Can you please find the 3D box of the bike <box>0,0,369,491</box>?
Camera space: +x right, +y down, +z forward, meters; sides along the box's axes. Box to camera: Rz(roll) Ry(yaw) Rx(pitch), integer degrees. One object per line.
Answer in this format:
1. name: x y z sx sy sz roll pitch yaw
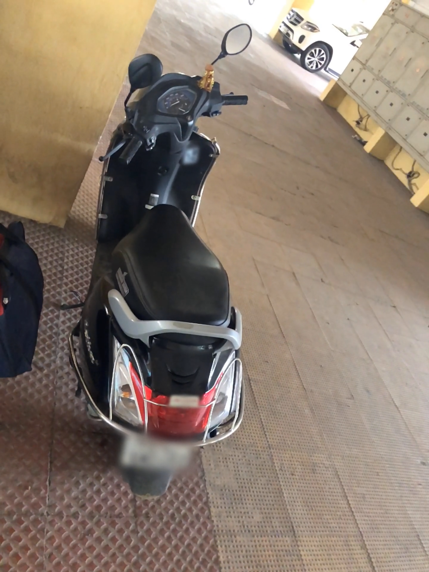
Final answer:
1. bike: -0.337 -0.302 1.716 0.622 0.883 1.664 13 38 -31
